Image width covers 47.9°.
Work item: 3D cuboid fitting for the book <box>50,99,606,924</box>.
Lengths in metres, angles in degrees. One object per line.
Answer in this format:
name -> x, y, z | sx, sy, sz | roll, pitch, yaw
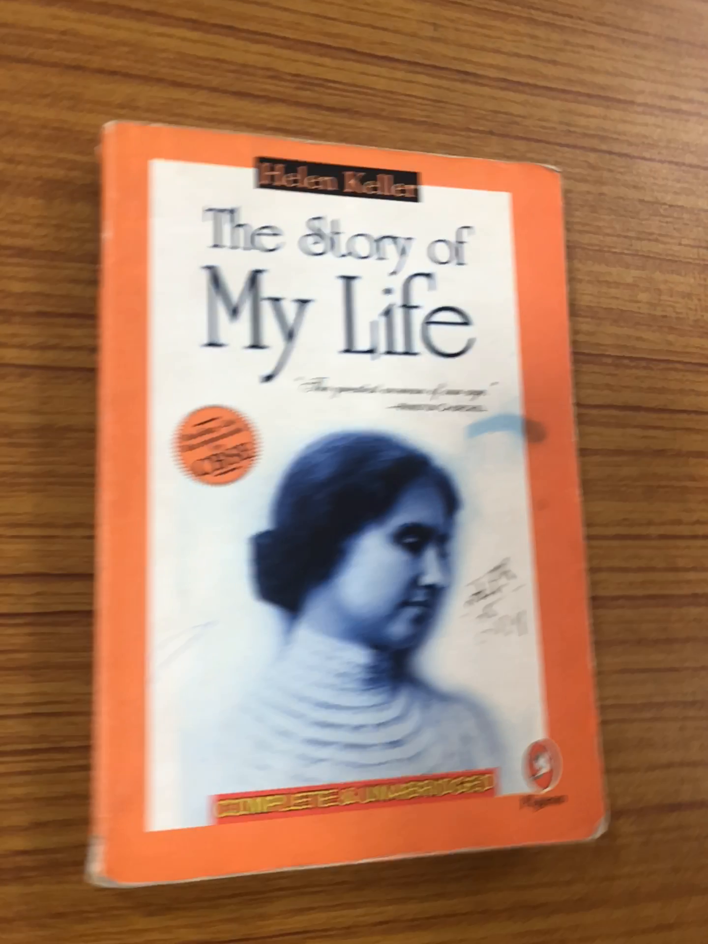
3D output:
book -> -0.006, 0.005, 0.193 | 0.120, 0.030, 0.170 | 0, 83, -14
